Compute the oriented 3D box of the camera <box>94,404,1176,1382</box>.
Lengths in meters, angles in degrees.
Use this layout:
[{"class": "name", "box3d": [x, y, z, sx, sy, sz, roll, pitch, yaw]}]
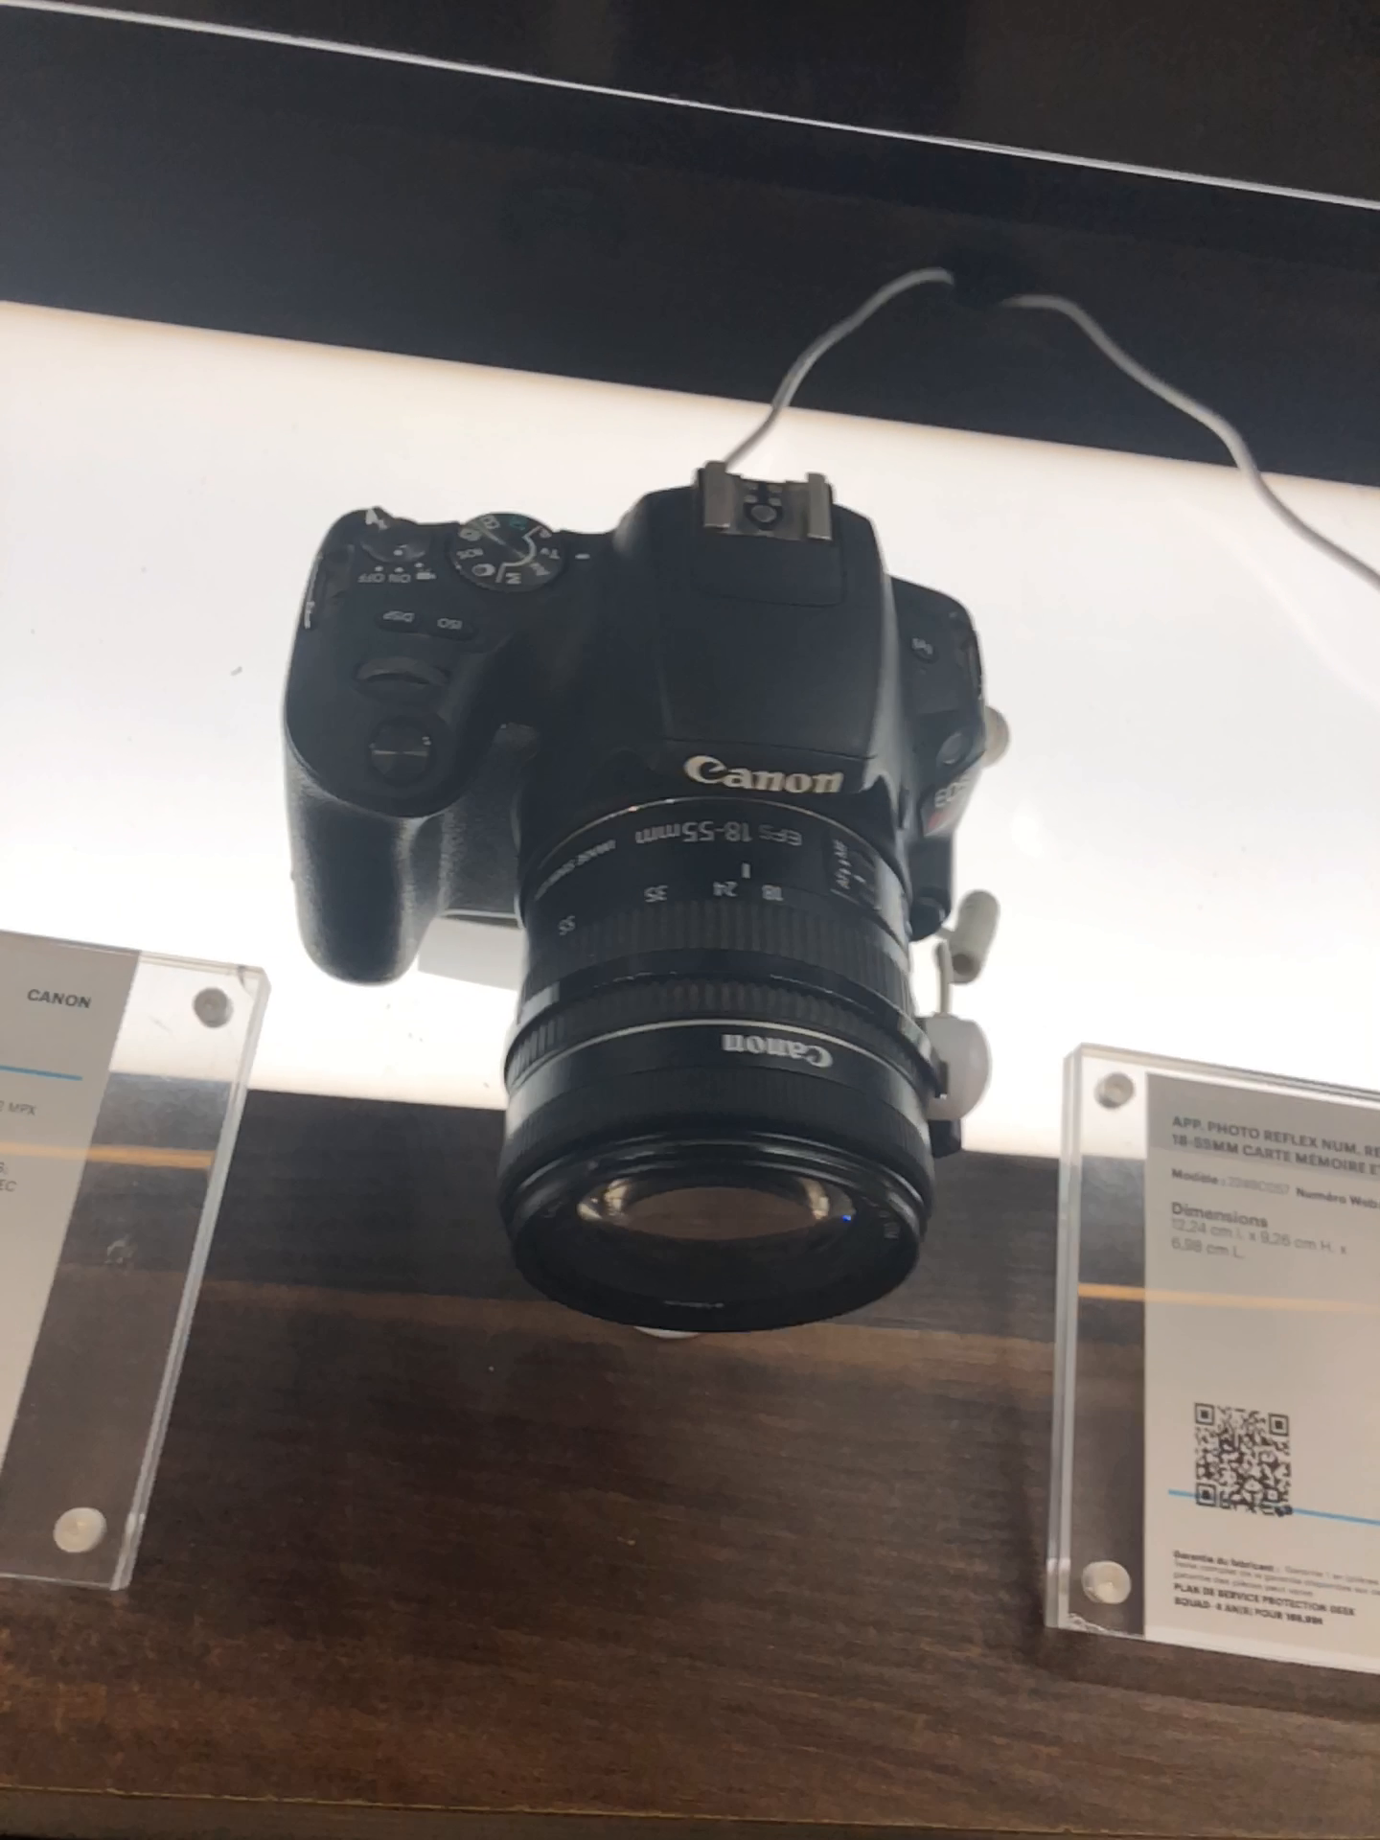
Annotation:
[{"class": "camera", "box3d": [-0.008, -0.004, 0.244, 0.124, 0.082, 0.119, 5, 52, -5]}]
